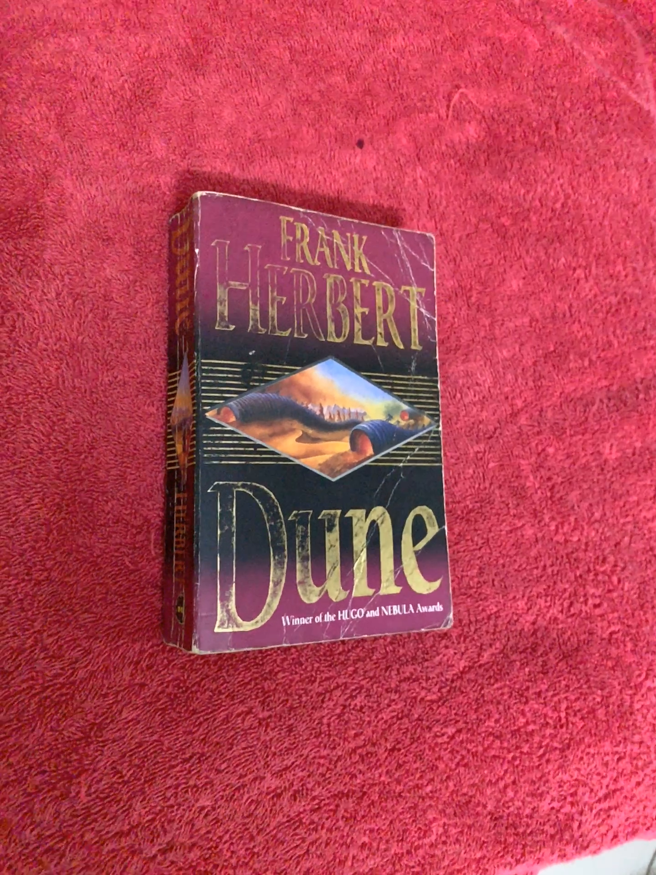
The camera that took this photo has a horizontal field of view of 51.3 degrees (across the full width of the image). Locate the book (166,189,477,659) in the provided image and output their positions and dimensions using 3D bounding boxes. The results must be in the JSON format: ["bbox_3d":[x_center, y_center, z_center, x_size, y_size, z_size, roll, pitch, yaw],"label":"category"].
[{"bbox_3d":[-0.004,-0.005,0.277,0.114,0.040,0.165,1,81,-24],"label":"book"}]
